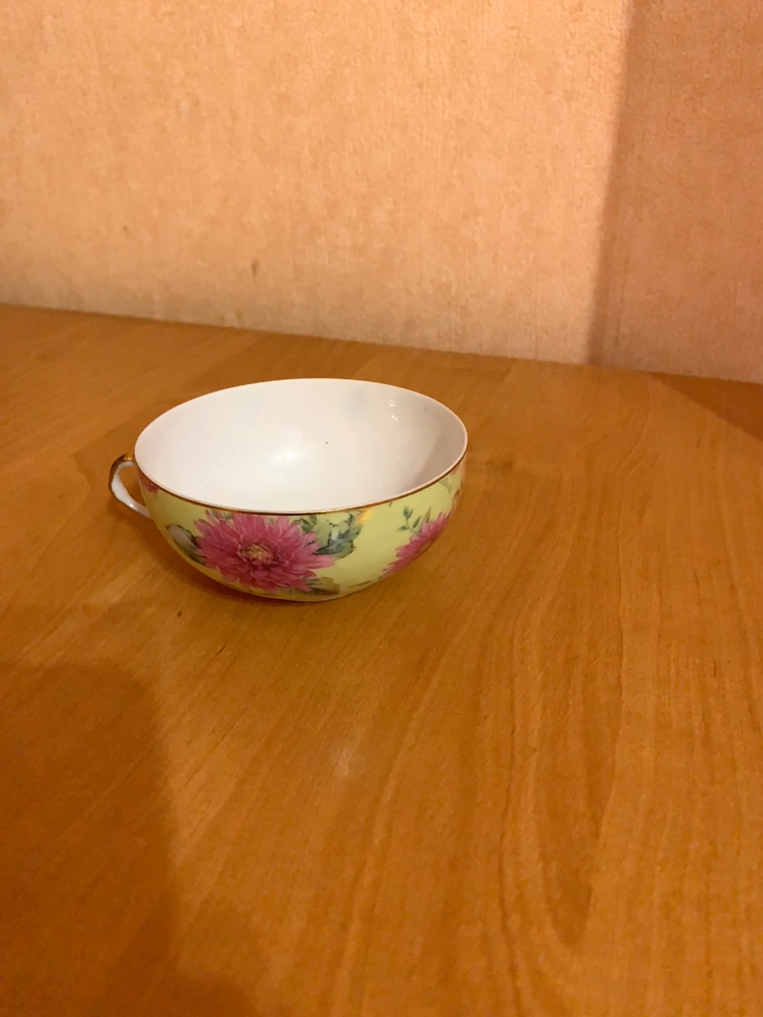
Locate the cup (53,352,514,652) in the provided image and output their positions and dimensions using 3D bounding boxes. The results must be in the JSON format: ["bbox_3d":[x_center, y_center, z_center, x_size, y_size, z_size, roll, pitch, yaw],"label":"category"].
[{"bbox_3d":[-0.024,-0.009,0.245,0.113,0.045,0.079,10,30,18],"label":"cup"}]
